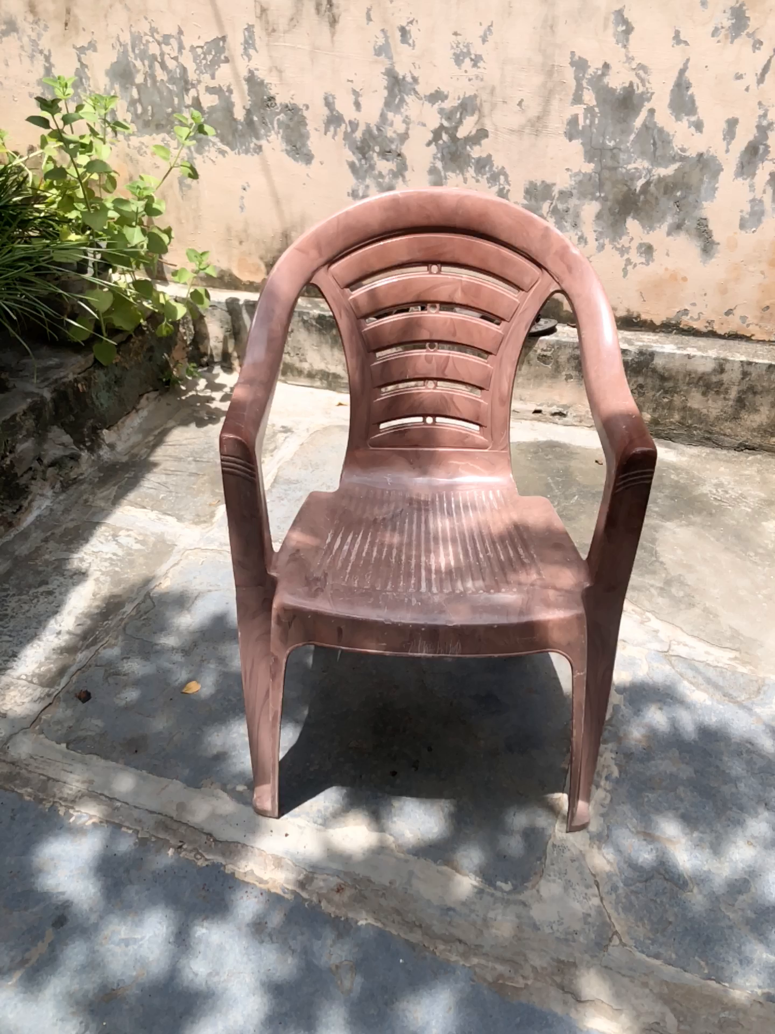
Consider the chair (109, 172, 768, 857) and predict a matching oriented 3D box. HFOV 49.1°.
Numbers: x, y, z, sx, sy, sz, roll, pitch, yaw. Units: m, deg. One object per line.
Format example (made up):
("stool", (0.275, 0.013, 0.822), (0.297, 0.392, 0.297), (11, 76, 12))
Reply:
("chair", (0.054, -0.008, 1.188), (0.580, 0.766, 0.543), (2, 35, 2))
